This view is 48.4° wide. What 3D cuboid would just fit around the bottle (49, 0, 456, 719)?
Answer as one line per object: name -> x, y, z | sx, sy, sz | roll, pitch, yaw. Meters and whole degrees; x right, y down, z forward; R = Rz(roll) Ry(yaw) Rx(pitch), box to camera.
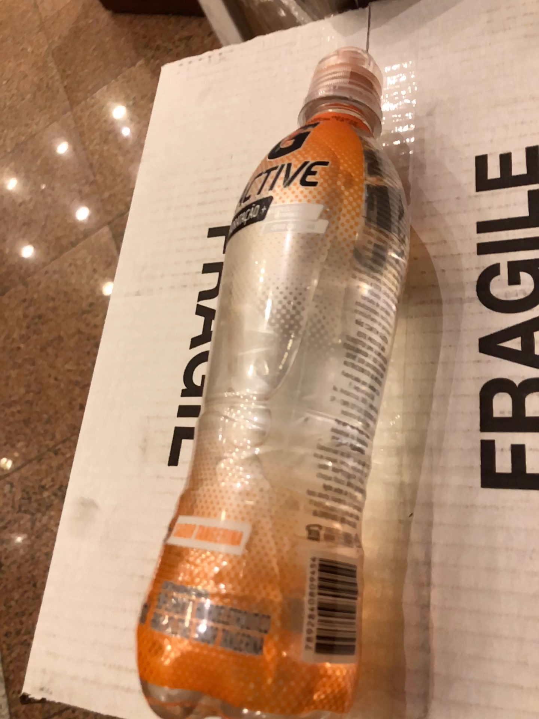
bottle -> 0.012, -0.023, 0.199 | 0.070, 0.060, 0.250 | 2, 69, 25
